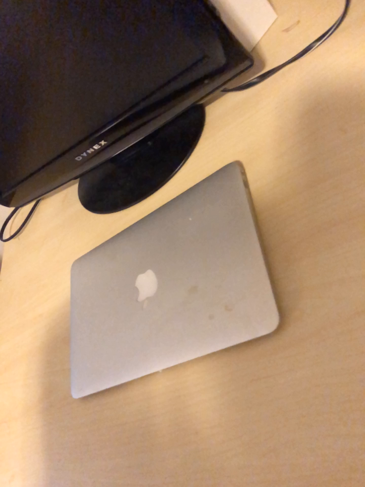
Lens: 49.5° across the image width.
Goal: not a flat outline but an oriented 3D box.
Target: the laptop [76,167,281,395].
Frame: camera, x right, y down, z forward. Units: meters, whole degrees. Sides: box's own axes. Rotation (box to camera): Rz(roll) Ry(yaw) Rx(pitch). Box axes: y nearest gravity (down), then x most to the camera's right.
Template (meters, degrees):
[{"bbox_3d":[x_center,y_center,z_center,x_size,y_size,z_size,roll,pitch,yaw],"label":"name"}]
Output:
[{"bbox_3d":[-0.033,0.052,0.463,0.279,0.005,0.181,-28,57,30],"label":"laptop"}]
